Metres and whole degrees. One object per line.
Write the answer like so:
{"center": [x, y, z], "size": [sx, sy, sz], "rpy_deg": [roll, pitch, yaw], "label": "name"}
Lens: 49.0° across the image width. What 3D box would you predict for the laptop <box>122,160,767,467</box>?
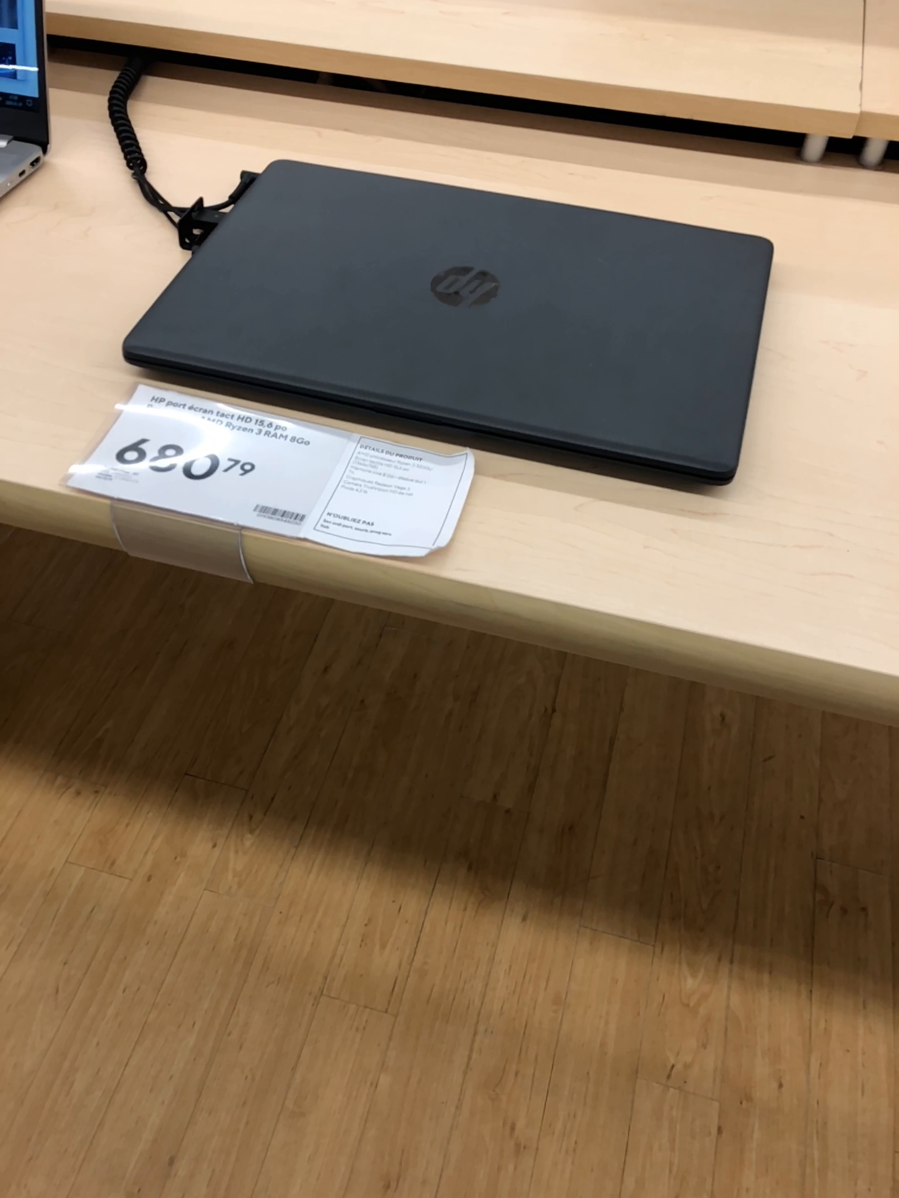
{"center": [0.011, -0.207, 0.659], "size": [0.374, 0.005, 0.245], "rpy_deg": [13, 51, 10], "label": "laptop"}
